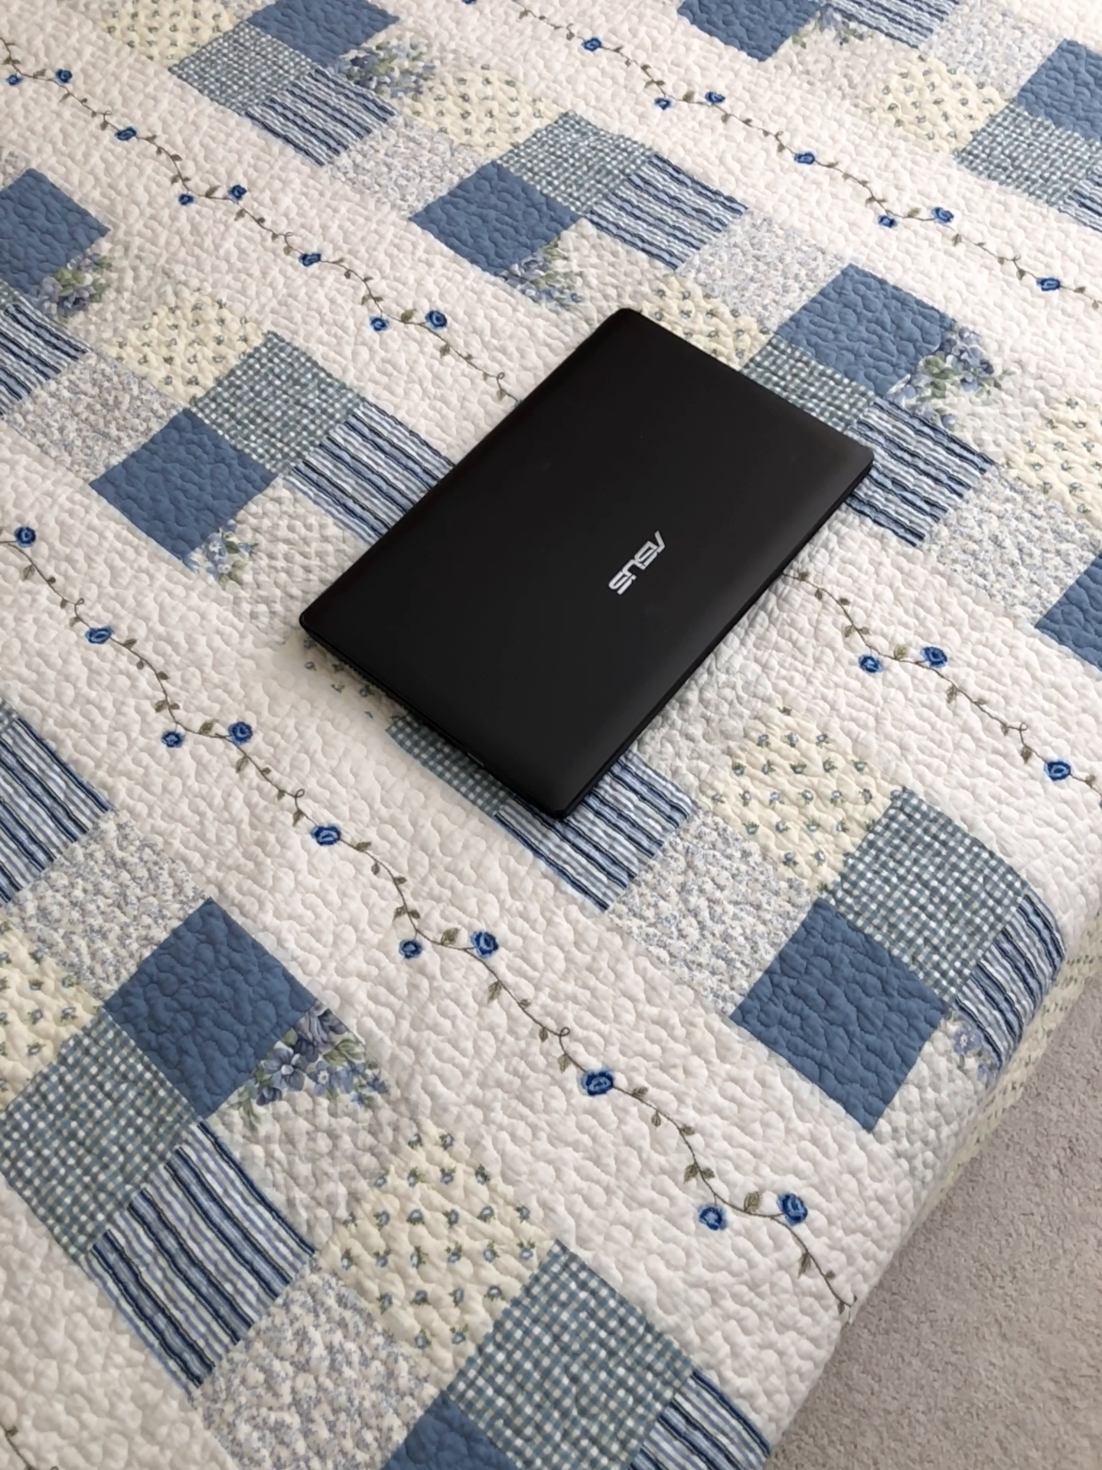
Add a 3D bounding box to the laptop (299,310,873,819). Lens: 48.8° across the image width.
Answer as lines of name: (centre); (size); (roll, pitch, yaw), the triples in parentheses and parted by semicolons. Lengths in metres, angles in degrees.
laptop: (0.031, -0.142, 0.885); (0.235, 0.006, 0.369); (37, 72, 17)
